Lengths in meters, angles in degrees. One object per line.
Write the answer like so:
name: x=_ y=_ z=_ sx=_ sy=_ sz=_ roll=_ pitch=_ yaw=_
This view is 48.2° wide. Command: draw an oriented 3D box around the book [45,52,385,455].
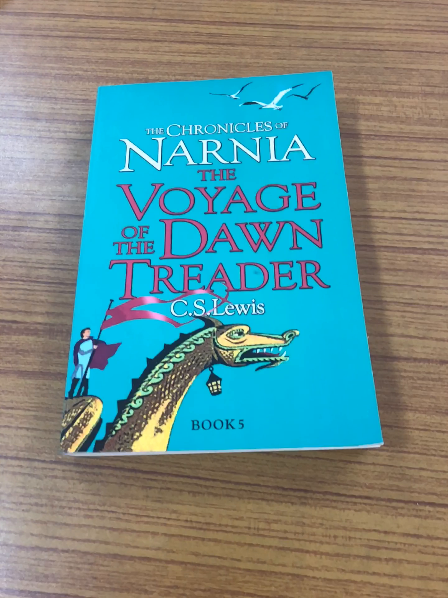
book: x=-0.005 y=-0.031 z=0.243 sx=0.130 sy=0.030 sz=0.200 roll=-2 pitch=67 yaw=2
